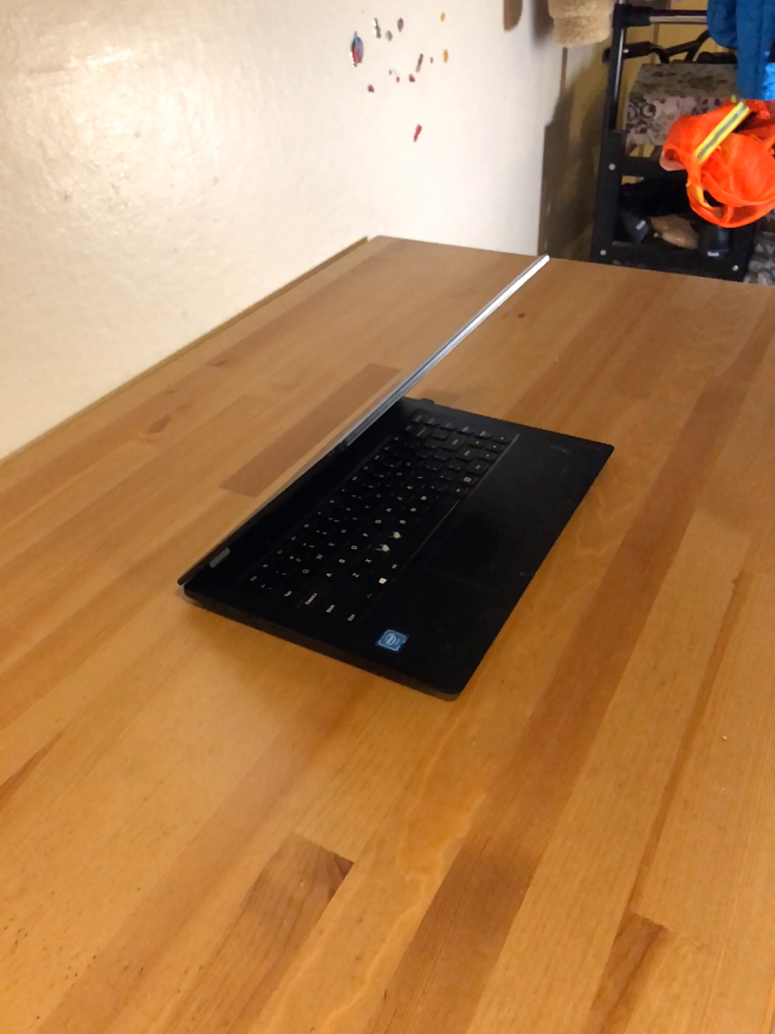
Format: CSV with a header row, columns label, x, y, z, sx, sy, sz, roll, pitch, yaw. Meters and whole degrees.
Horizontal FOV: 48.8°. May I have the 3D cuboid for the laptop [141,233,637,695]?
label,x,y,z,sx,sy,sz,roll,pitch,yaw
laptop,0.024,-0.069,0.635,0.216,0.161,0.318,17,40,24
